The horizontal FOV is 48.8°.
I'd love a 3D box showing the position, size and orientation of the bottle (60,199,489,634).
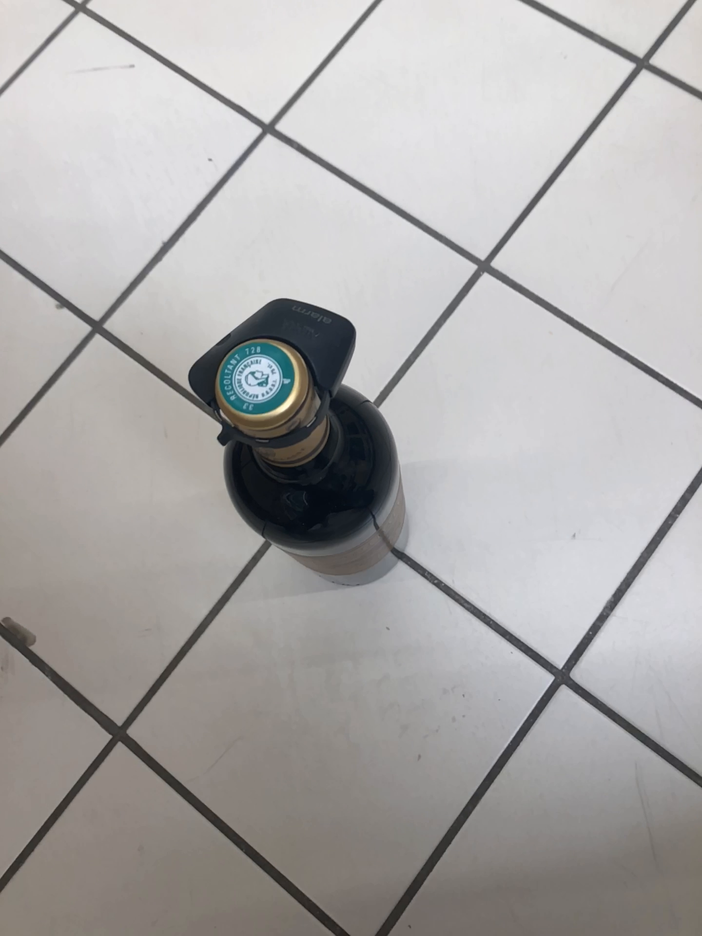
[{"bbox_3d":[-0.011,0.011,0.367,0.090,0.290,0.090,-1,77,5],"label":"bottle"}]
